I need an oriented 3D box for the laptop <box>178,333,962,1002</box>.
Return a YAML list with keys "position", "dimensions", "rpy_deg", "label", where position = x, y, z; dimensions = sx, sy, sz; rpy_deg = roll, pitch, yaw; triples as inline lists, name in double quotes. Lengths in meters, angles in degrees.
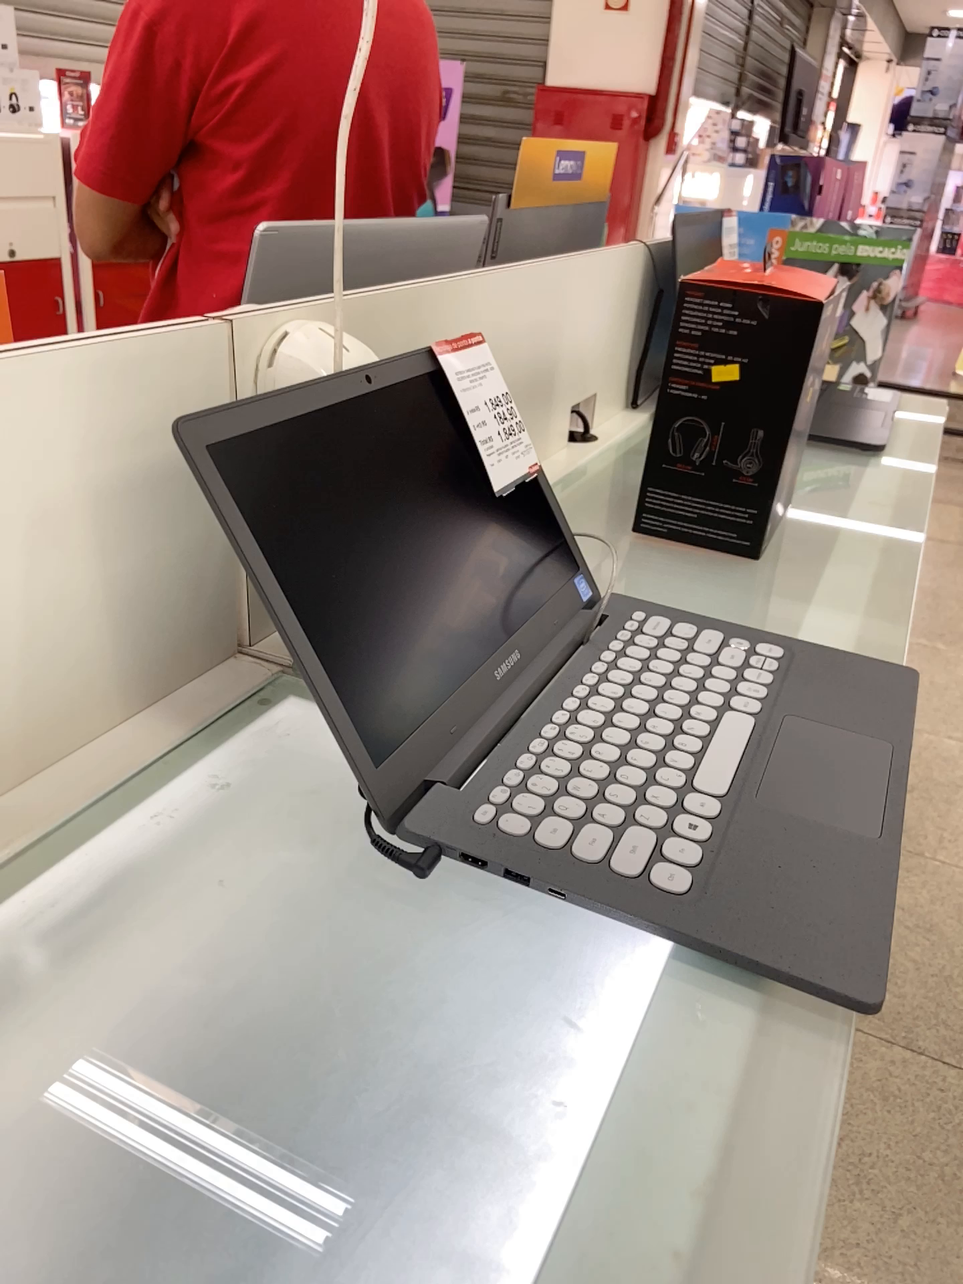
- position: [0.080, -0.039, 0.551]
  dimensions: [0.340, 0.172, 0.326]
  rpy_deg: [16, 28, 20]
  label: "laptop"
